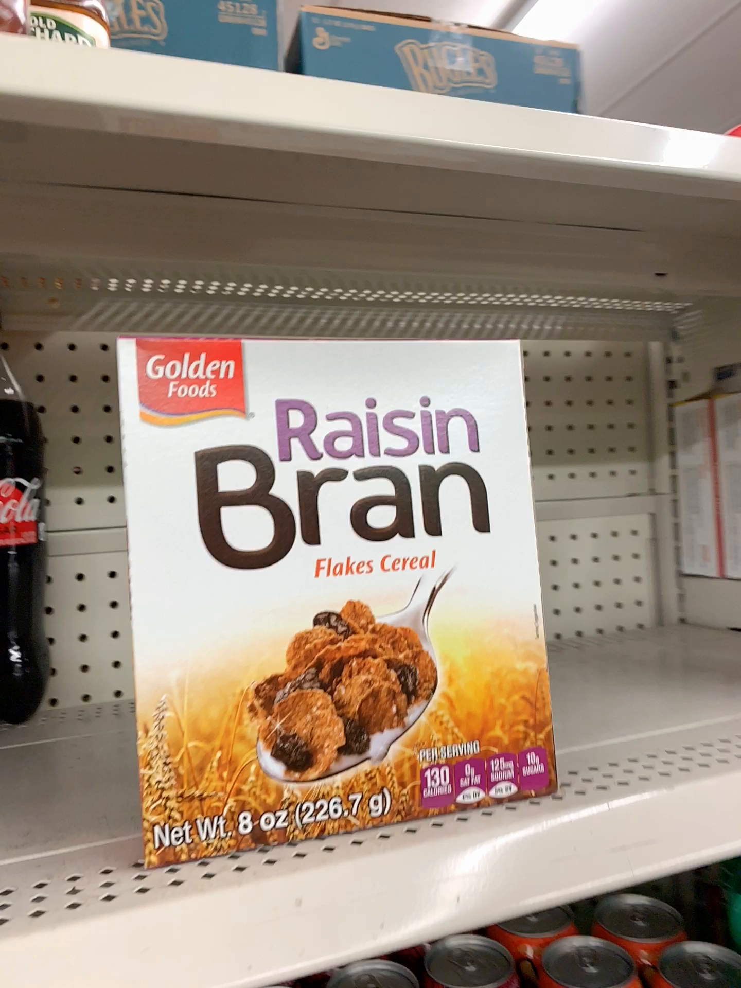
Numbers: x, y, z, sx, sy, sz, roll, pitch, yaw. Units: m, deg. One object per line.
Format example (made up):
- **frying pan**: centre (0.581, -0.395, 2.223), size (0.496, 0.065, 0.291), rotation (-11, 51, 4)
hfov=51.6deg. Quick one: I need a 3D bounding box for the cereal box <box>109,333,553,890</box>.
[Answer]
- **cereal box**: centre (-0.019, 0.043, 0.369), size (0.190, 0.230, 0.050), rotation (-3, -3, -16)
